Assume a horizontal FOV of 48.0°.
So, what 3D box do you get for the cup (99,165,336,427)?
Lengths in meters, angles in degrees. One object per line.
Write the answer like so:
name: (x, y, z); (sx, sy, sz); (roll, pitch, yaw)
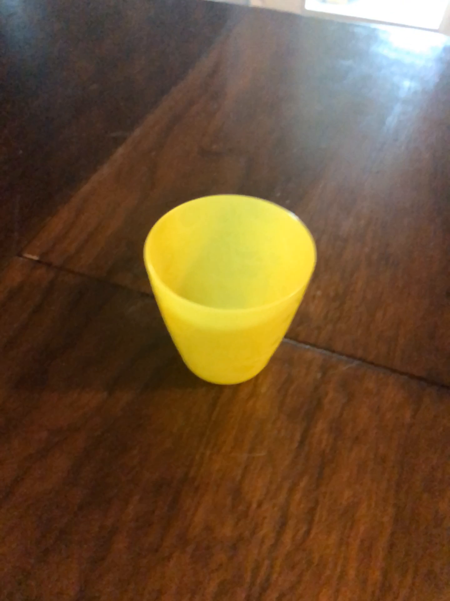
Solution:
cup: (-0.001, -0.004, 0.256); (0.080, 0.080, 0.080); (1, 48, -1)
